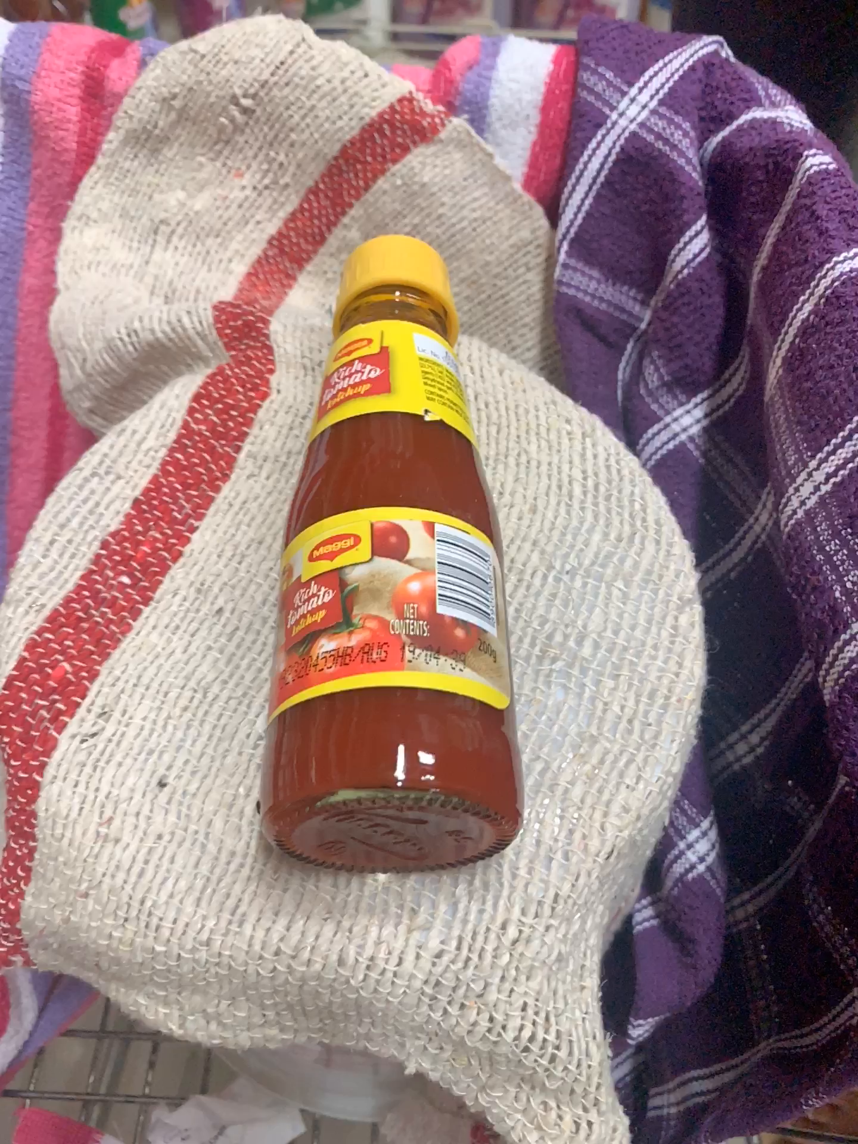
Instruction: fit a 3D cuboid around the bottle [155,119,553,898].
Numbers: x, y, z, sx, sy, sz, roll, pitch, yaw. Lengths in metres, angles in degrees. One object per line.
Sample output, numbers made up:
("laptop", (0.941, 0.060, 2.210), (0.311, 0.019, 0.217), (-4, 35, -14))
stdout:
("bottle", (-0.014, -0.023, 0.204), (0.050, 0.050, 0.170), (-19, 53, 24))
